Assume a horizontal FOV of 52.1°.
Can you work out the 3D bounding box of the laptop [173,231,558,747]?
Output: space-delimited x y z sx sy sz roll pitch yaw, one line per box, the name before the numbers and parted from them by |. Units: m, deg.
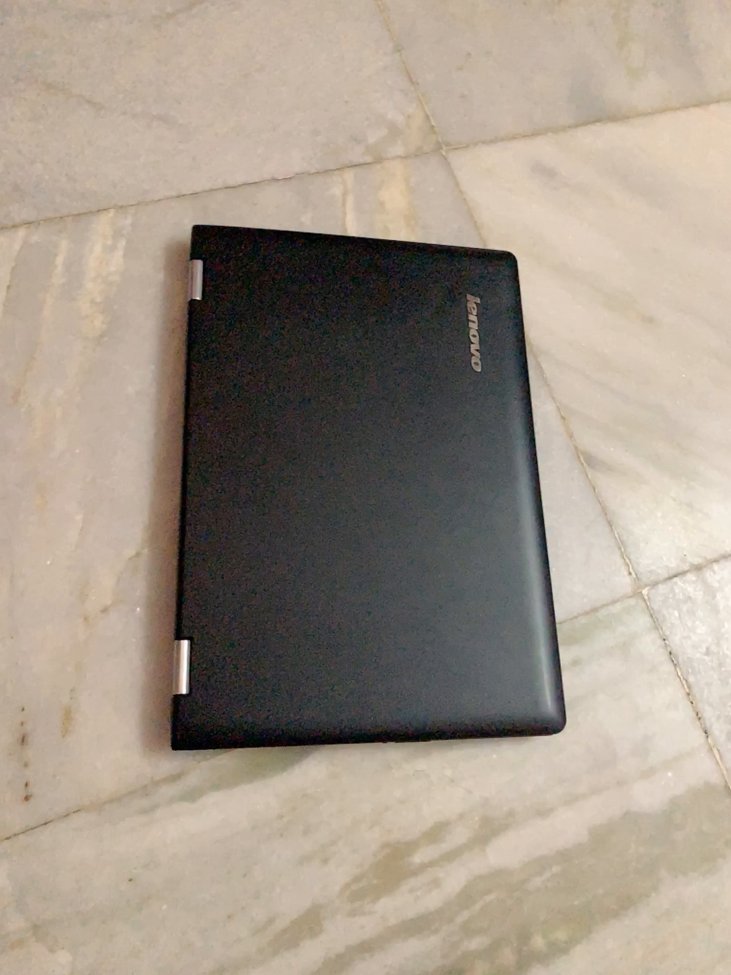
laptop | 0.001 -0.013 0.474 0.224 0.001 0.325 1 73 -11
